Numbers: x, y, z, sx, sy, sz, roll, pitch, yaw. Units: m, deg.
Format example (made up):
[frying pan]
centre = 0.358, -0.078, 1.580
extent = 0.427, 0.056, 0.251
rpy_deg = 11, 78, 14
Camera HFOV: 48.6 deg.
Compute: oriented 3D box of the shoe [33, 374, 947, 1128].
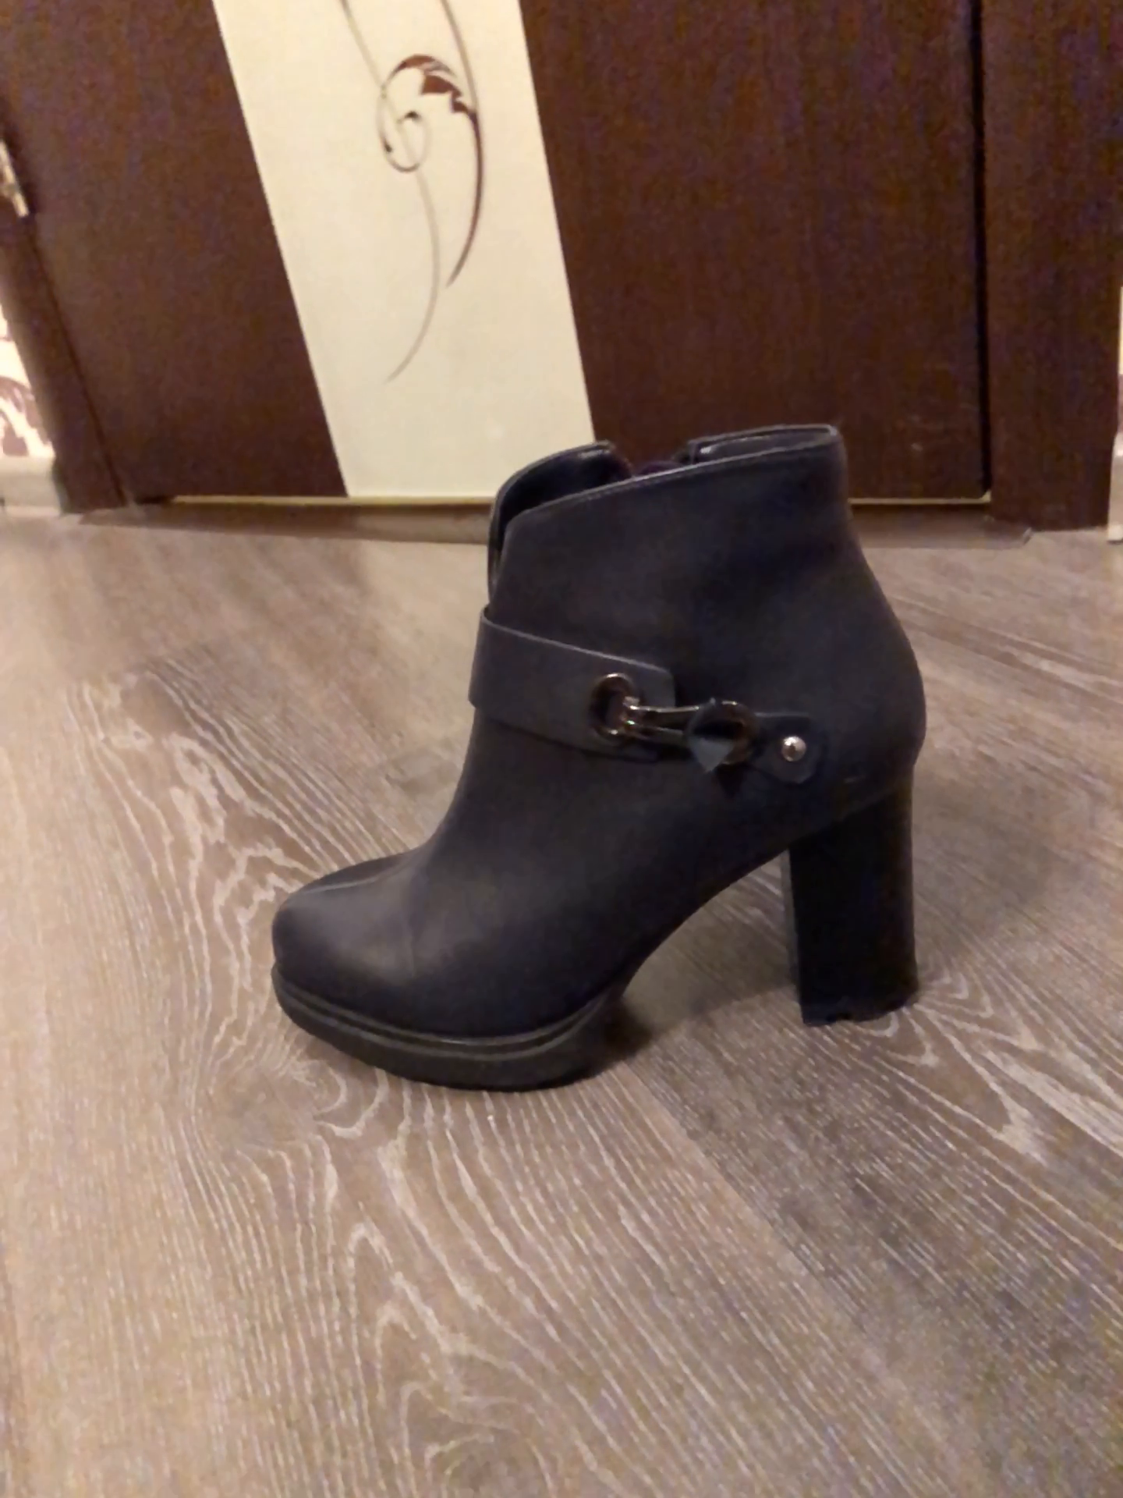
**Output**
[shoe]
centre = -0.007, 0.004, 0.405
extent = 0.230, 0.189, 0.111
rpy_deg = -7, 27, 9
